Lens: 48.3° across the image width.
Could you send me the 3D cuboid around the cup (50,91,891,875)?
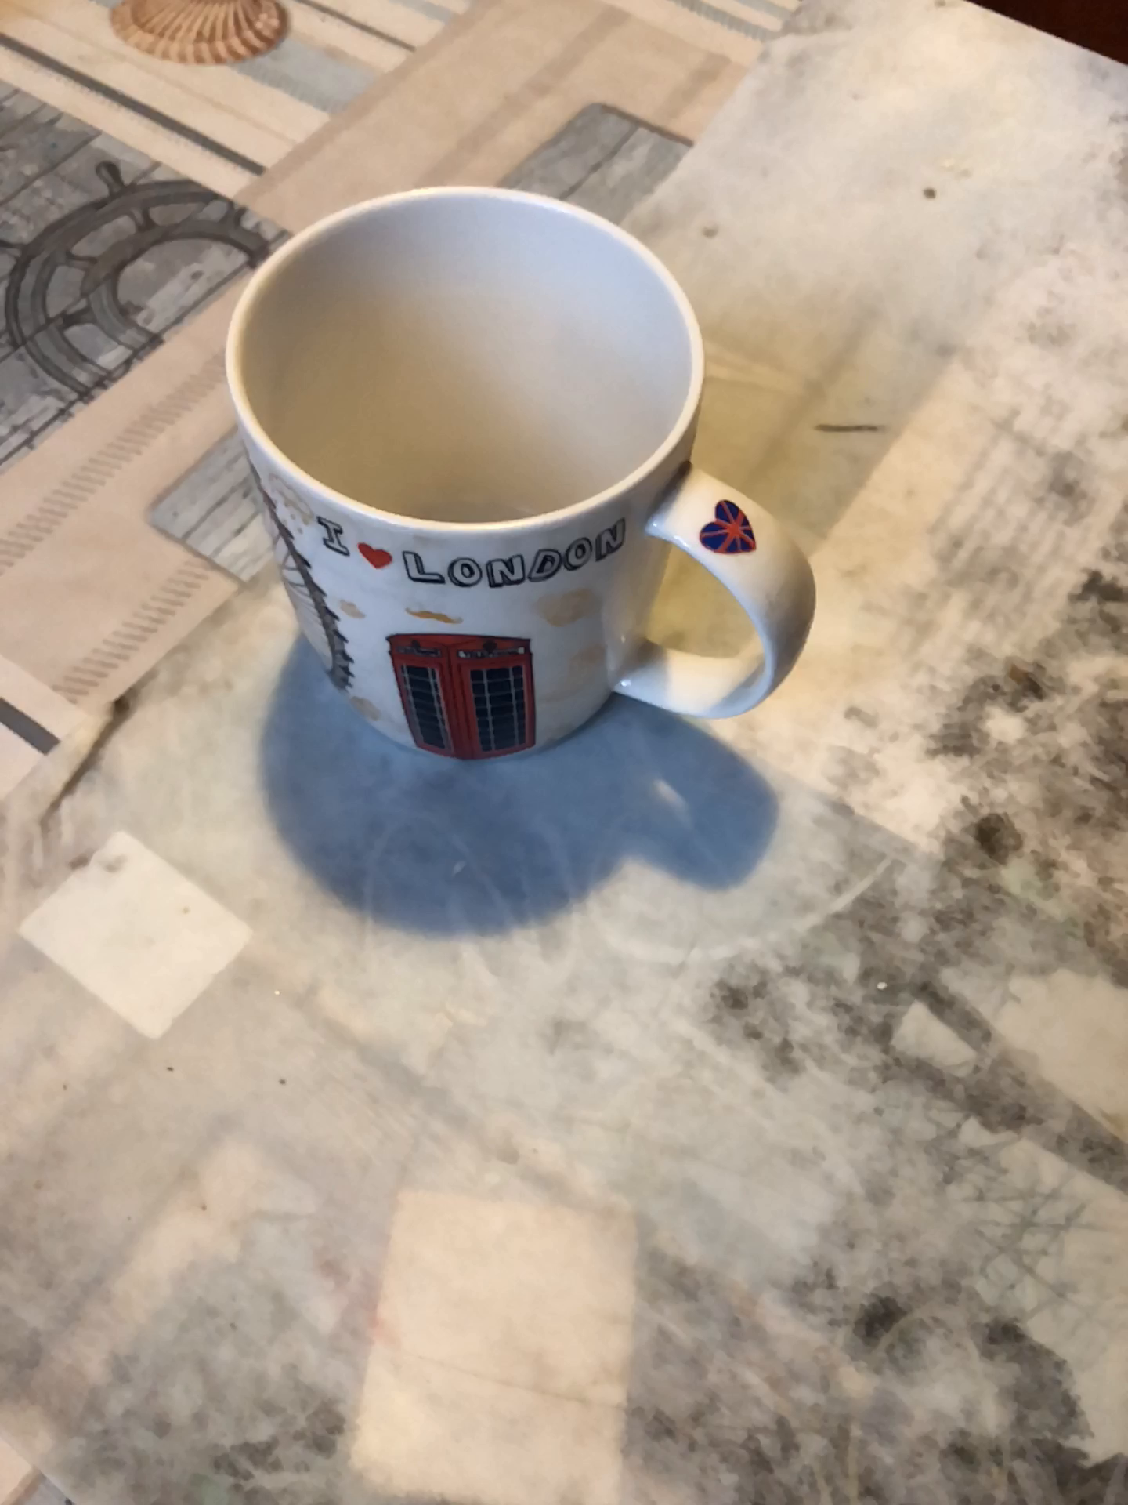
[{"bbox_3d":[-0.015,-0.053,0.259,0.121,0.086,0.084,27,67,13],"label":"cup"}]
